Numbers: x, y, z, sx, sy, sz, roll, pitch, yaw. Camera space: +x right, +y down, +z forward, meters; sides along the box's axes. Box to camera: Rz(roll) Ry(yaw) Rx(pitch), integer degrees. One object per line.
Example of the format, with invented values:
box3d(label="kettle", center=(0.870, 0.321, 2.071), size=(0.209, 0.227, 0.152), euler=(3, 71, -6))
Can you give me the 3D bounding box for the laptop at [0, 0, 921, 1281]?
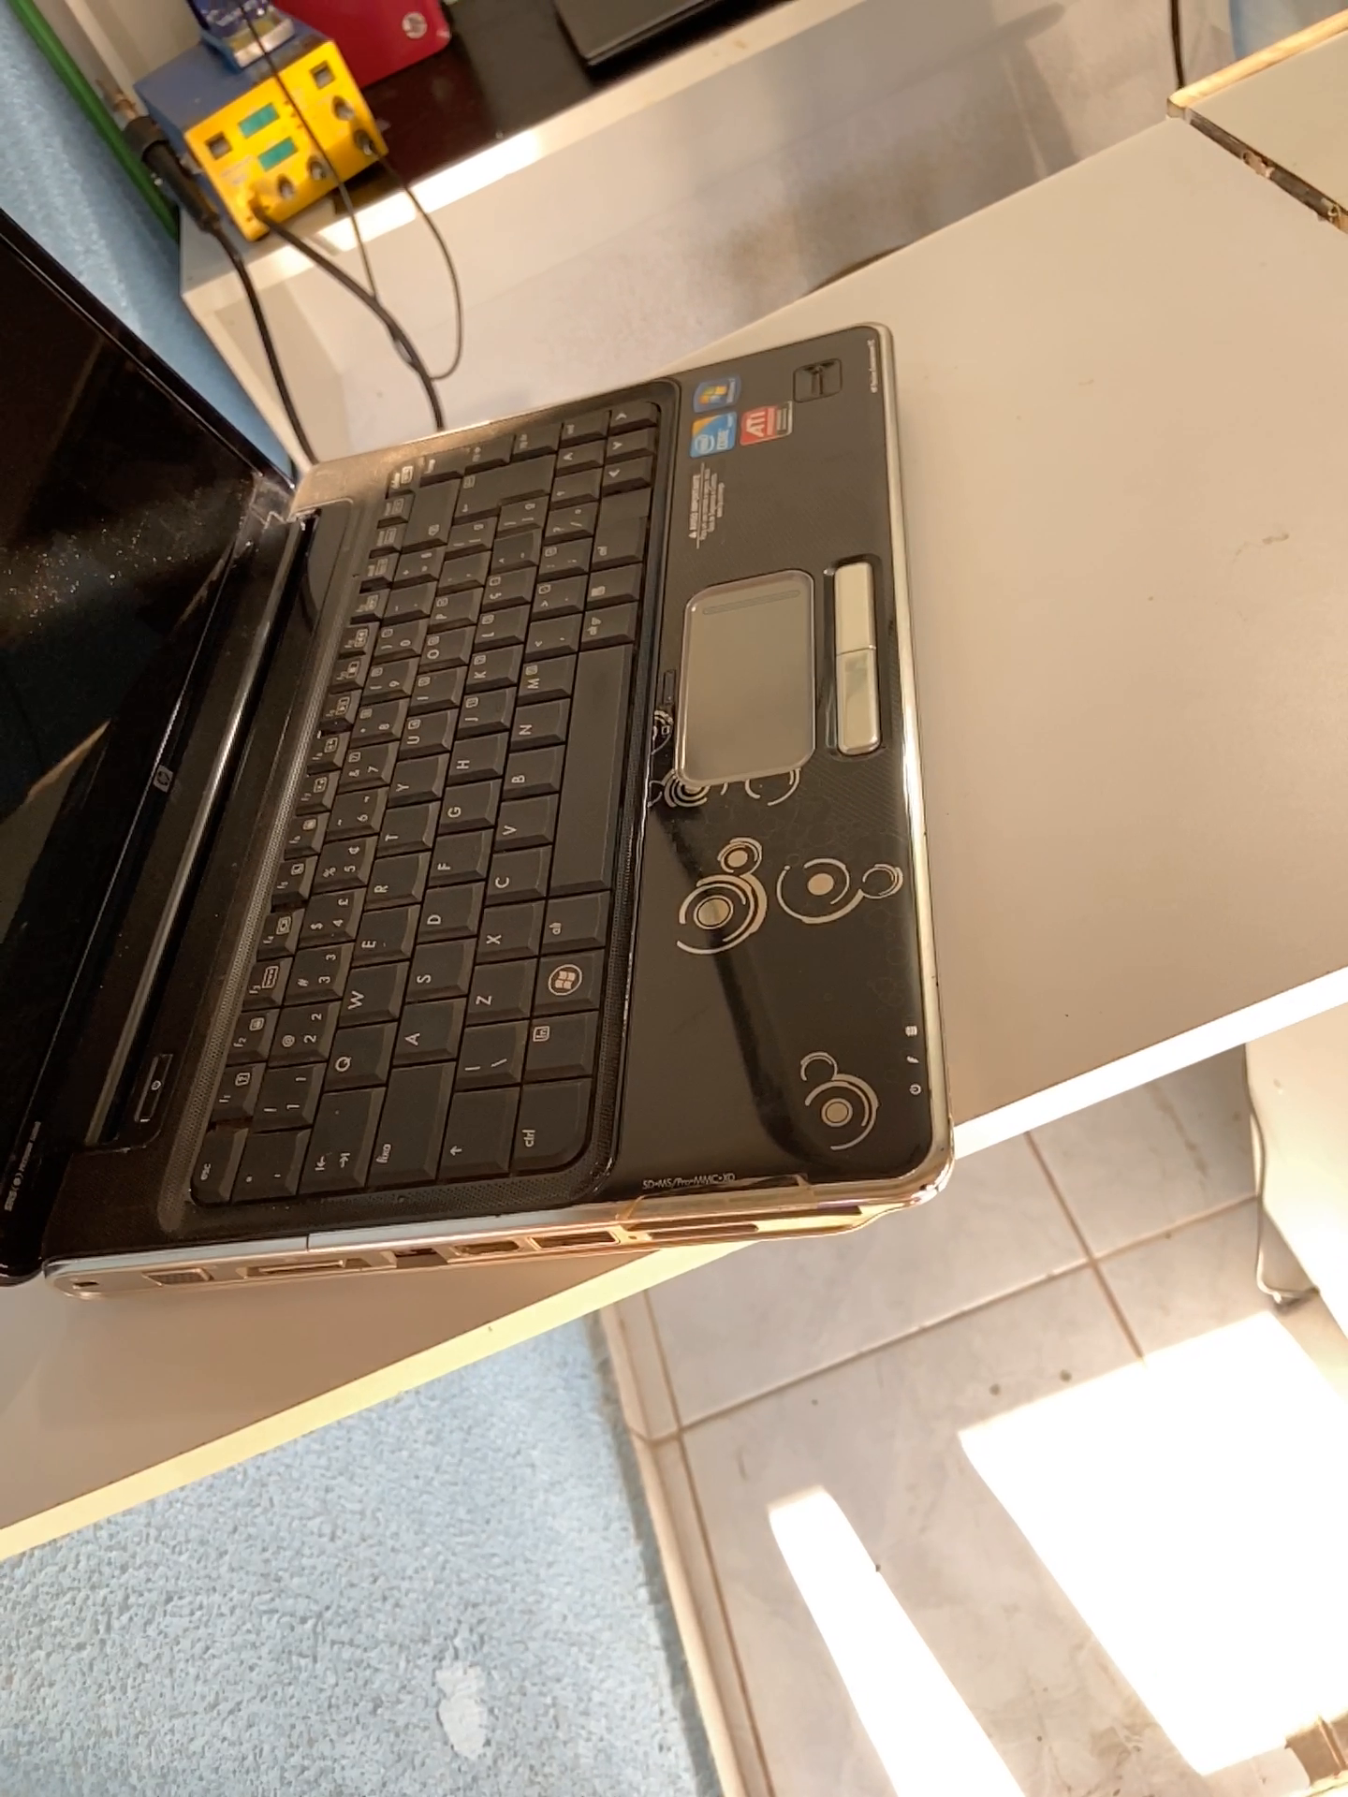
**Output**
box3d(label="laptop", center=(-0.120, -0.109, 0.353), size=(0.301, 0.211, 0.323), euler=(-10, 51, 17))
